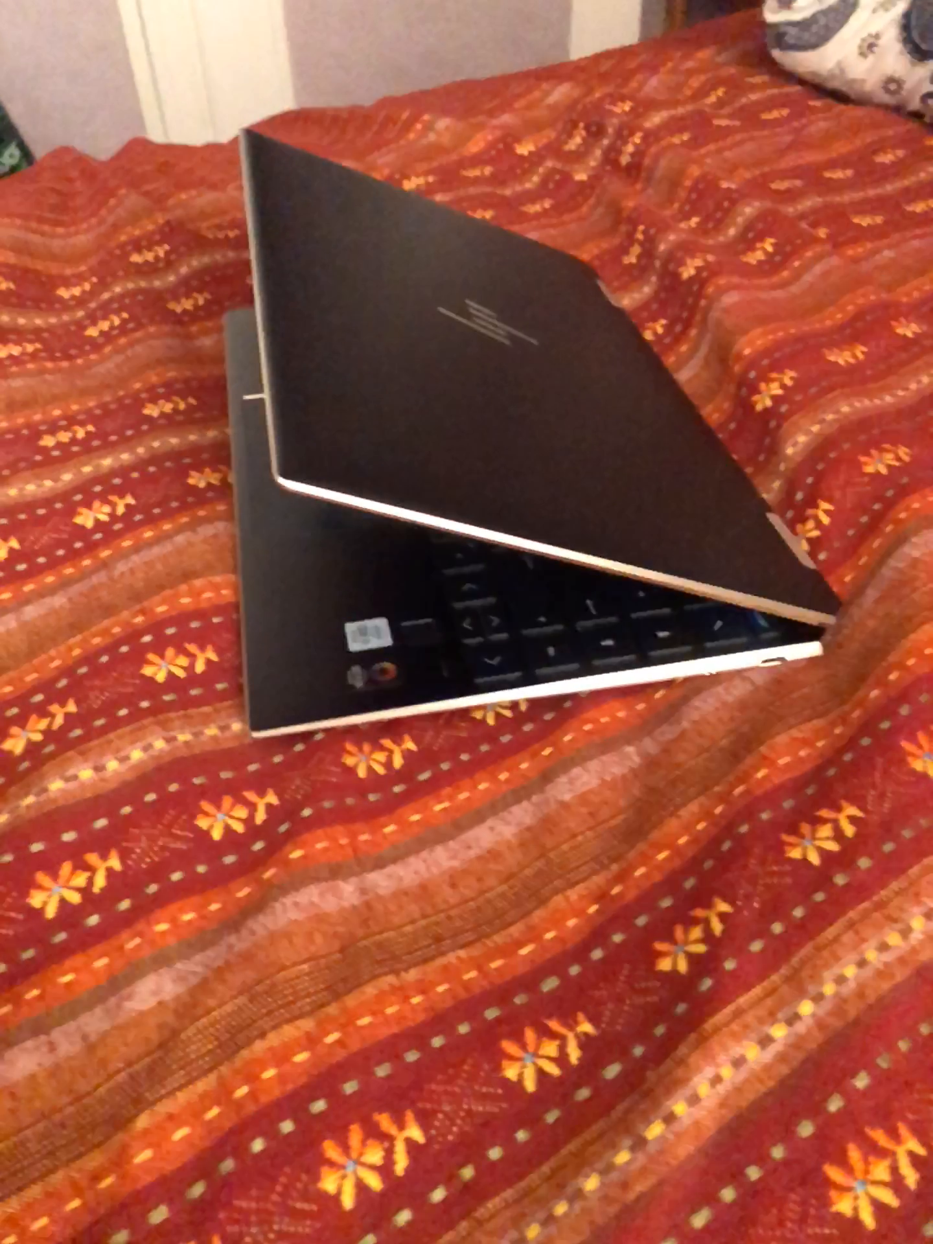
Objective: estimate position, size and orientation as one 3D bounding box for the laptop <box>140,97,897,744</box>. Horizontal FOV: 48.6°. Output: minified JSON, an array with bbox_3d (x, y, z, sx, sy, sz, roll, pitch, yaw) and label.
[{"bbox_3d":[-0.001,-0.120,0.420,0.202,0.101,0.327,-6,39,-10],"label":"laptop"}]
